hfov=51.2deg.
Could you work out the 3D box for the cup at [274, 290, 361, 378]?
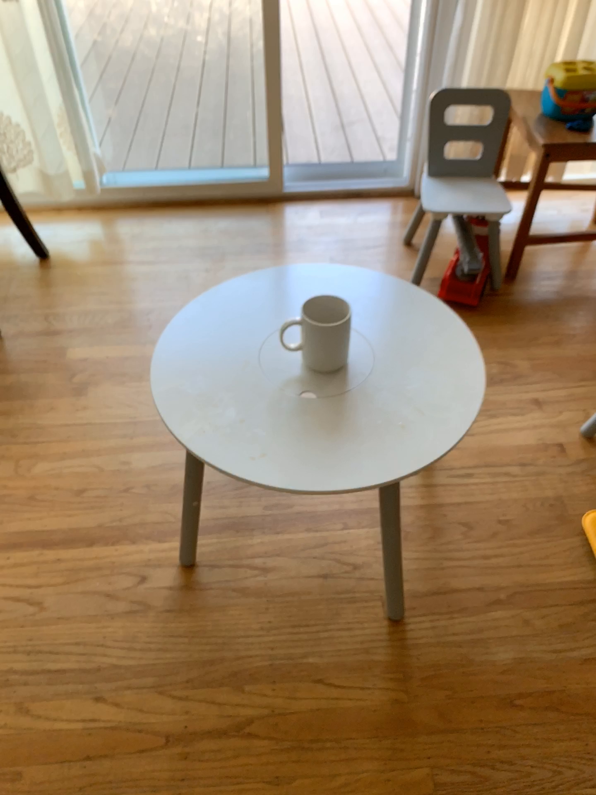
[{"bbox_3d":[0.029,-0.109,1.056,0.130,0.090,0.110,-5,46,-4],"label":"cup"}]
